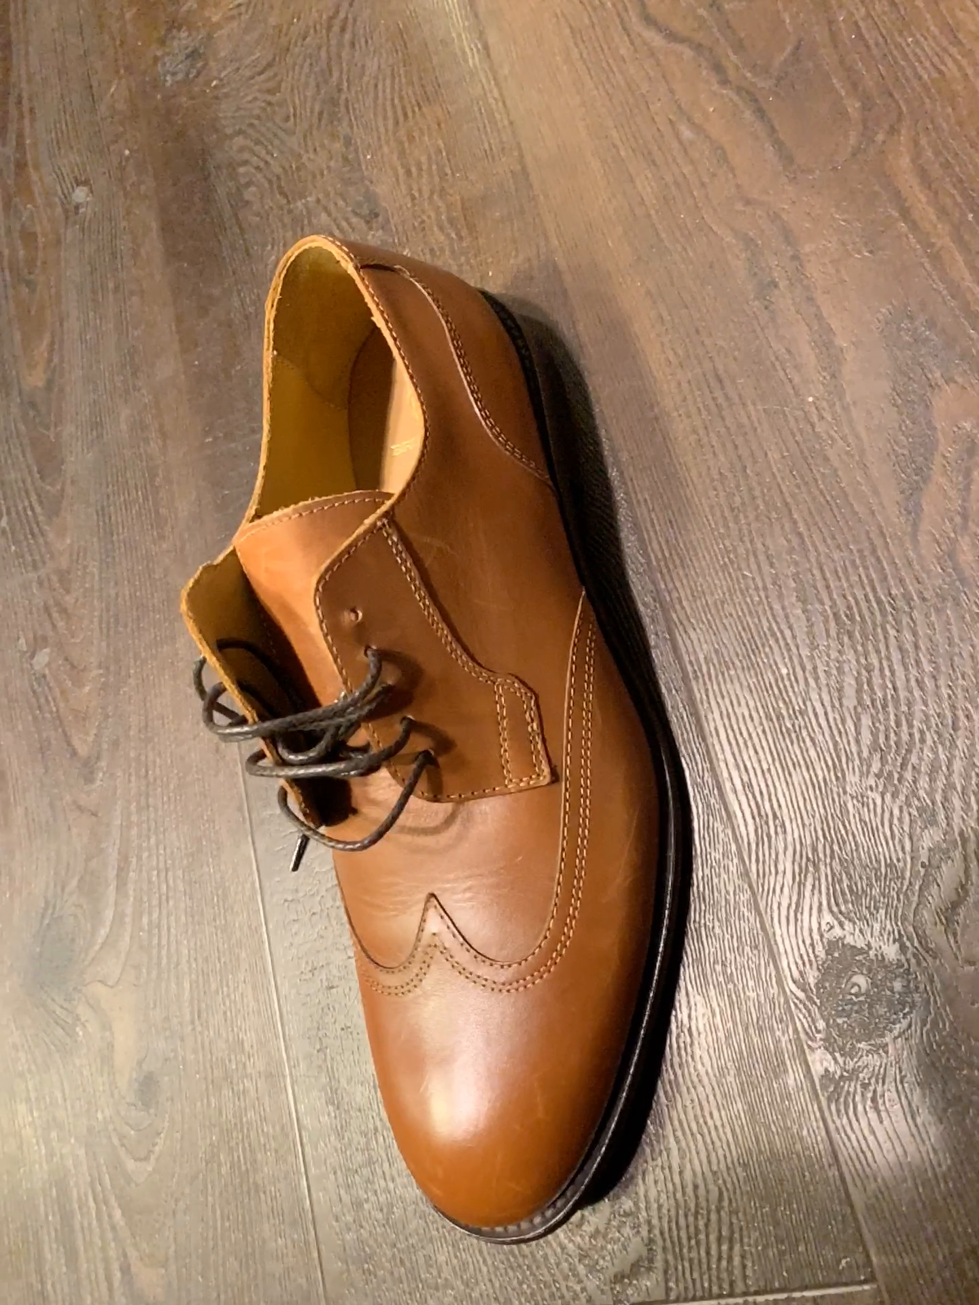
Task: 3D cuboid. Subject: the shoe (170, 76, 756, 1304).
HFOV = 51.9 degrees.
[{"bbox_3d":[-0.014,0.015,0.314,0.120,0.109,0.321,-12,73,27],"label":"shoe"}]
